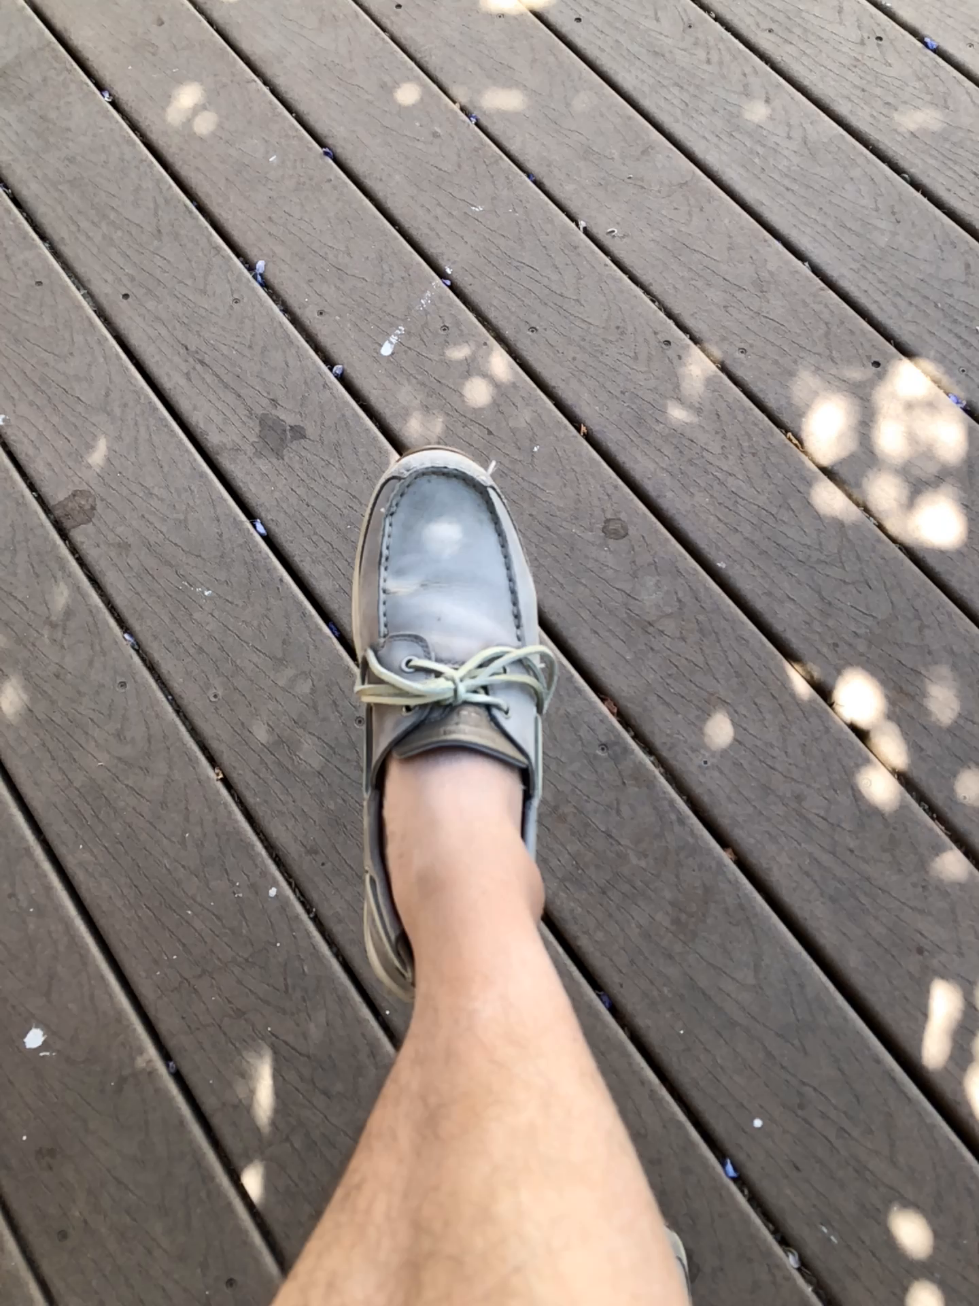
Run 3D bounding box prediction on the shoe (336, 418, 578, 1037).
[{"bbox_3d":[-0.014,0.037,0.573,0.115,0.085,0.306,-1,80,3],"label":"shoe"}]
